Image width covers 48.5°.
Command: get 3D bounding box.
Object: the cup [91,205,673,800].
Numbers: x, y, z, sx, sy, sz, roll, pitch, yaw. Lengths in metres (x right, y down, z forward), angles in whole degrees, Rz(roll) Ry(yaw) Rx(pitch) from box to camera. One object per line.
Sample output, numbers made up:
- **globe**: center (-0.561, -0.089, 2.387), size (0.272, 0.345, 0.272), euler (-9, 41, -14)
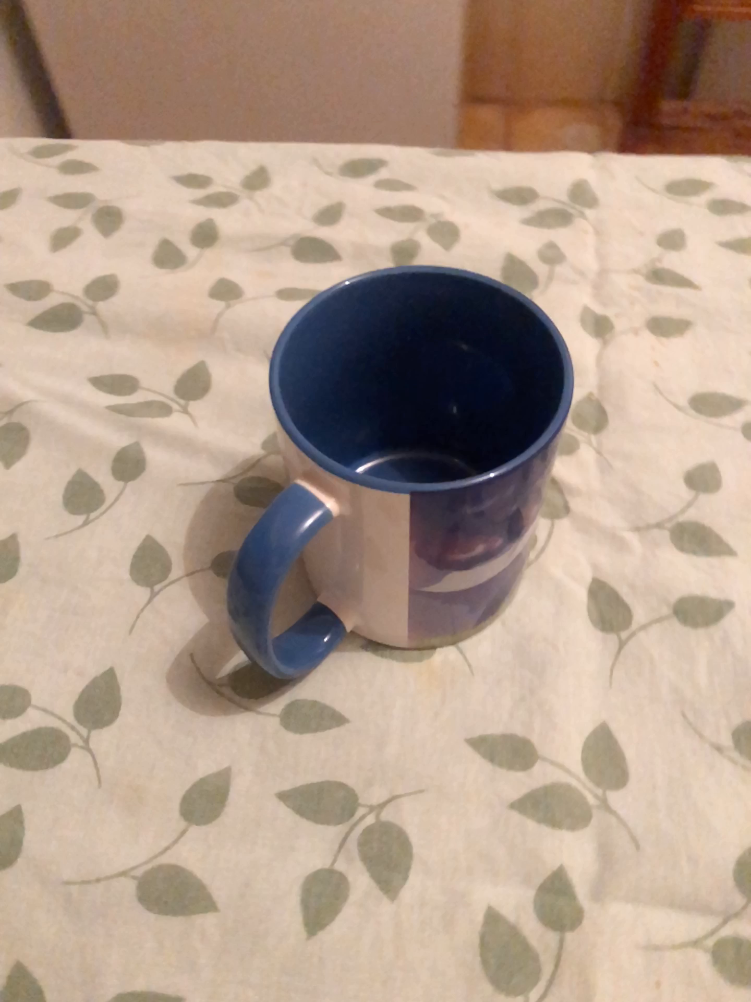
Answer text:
- **cup**: center (0.005, 0.001, 0.253), size (0.090, 0.099, 0.120), euler (37, 65, 22)
